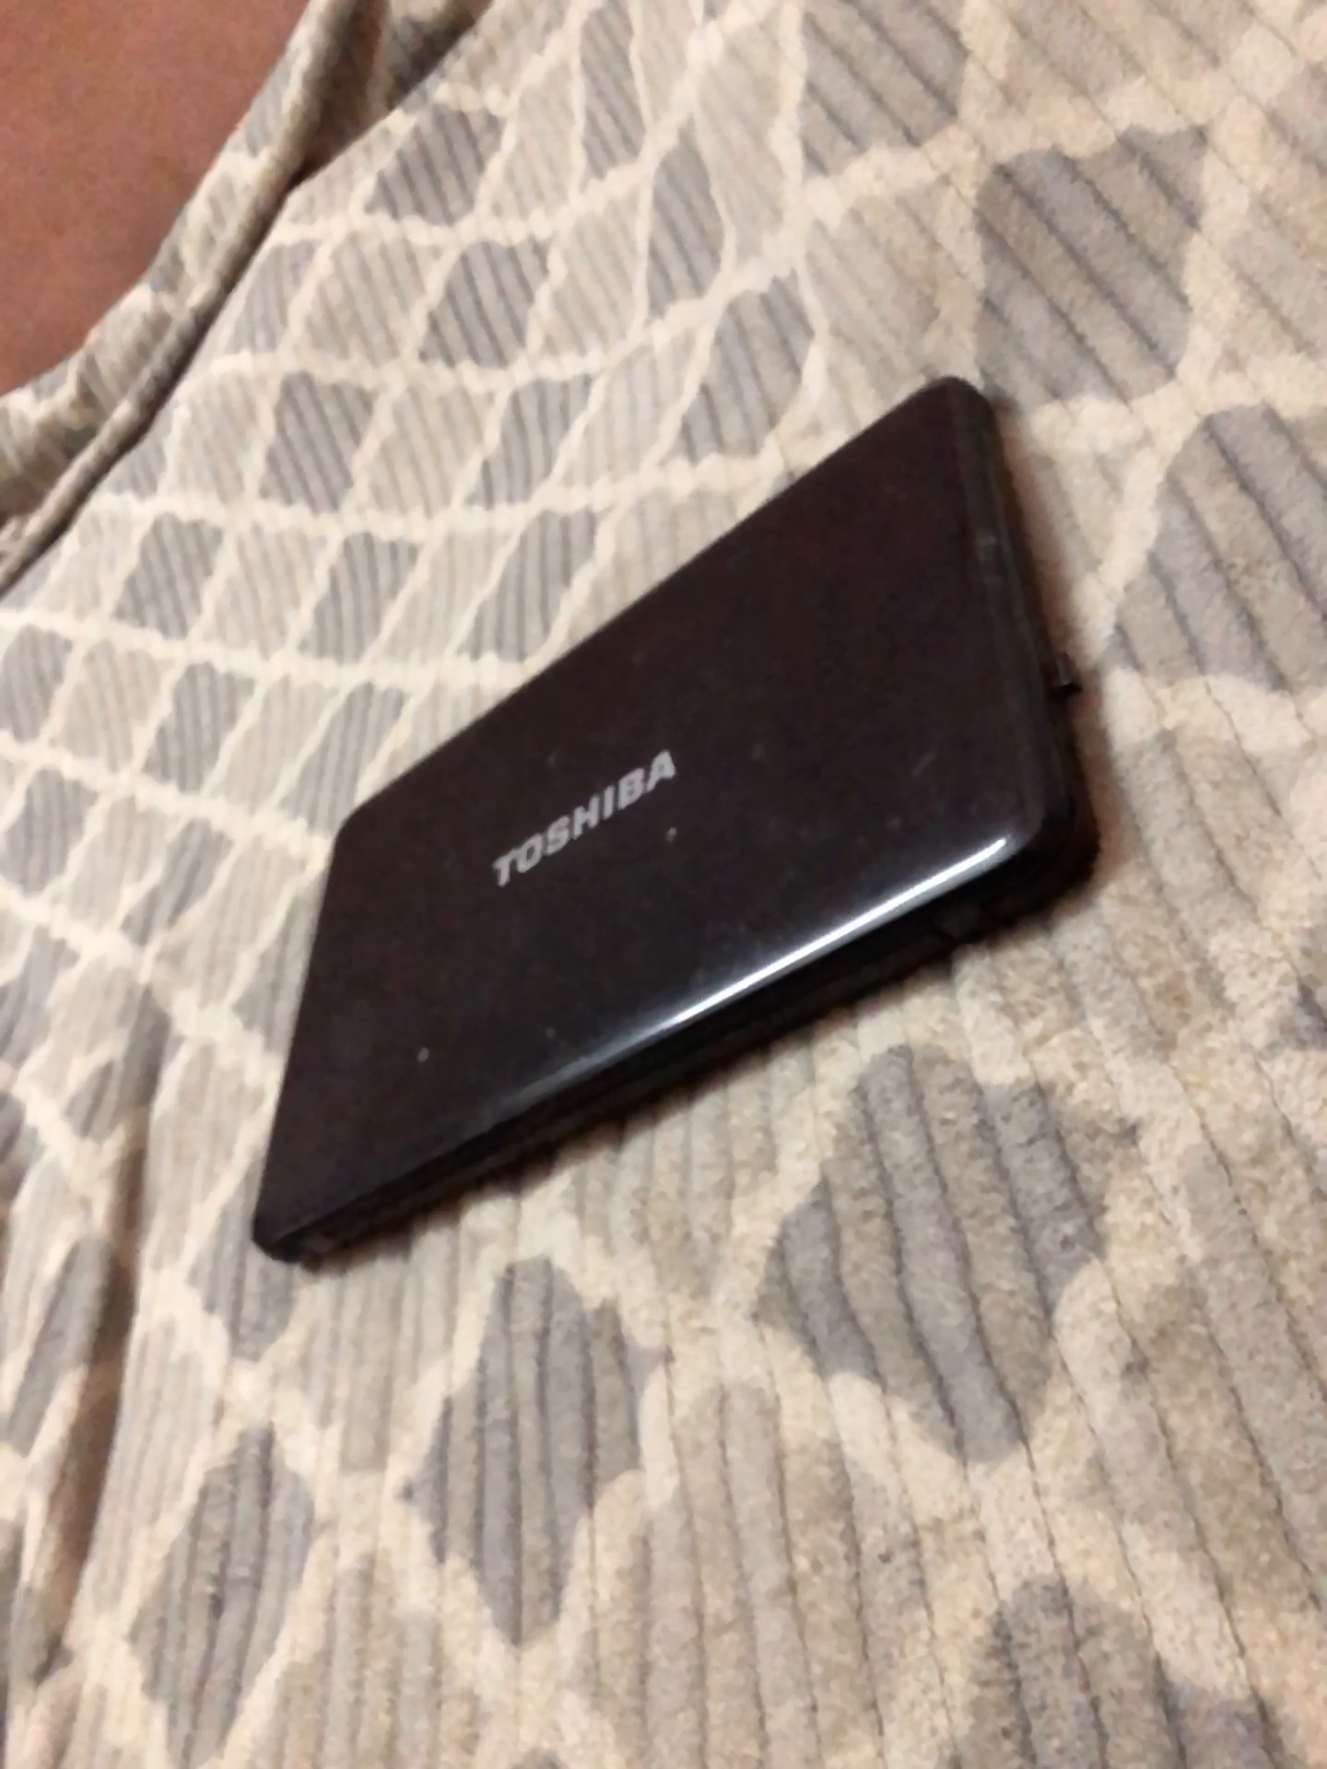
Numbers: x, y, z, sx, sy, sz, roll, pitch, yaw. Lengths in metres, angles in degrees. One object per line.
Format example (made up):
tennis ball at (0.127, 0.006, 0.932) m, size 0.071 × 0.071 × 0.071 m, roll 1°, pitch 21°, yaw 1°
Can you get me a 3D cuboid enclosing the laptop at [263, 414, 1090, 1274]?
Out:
laptop at (-0.016, -0.010, 0.605) m, size 0.376 × 0.023 × 0.249 m, roll -31°, pitch 37°, yaw 32°
